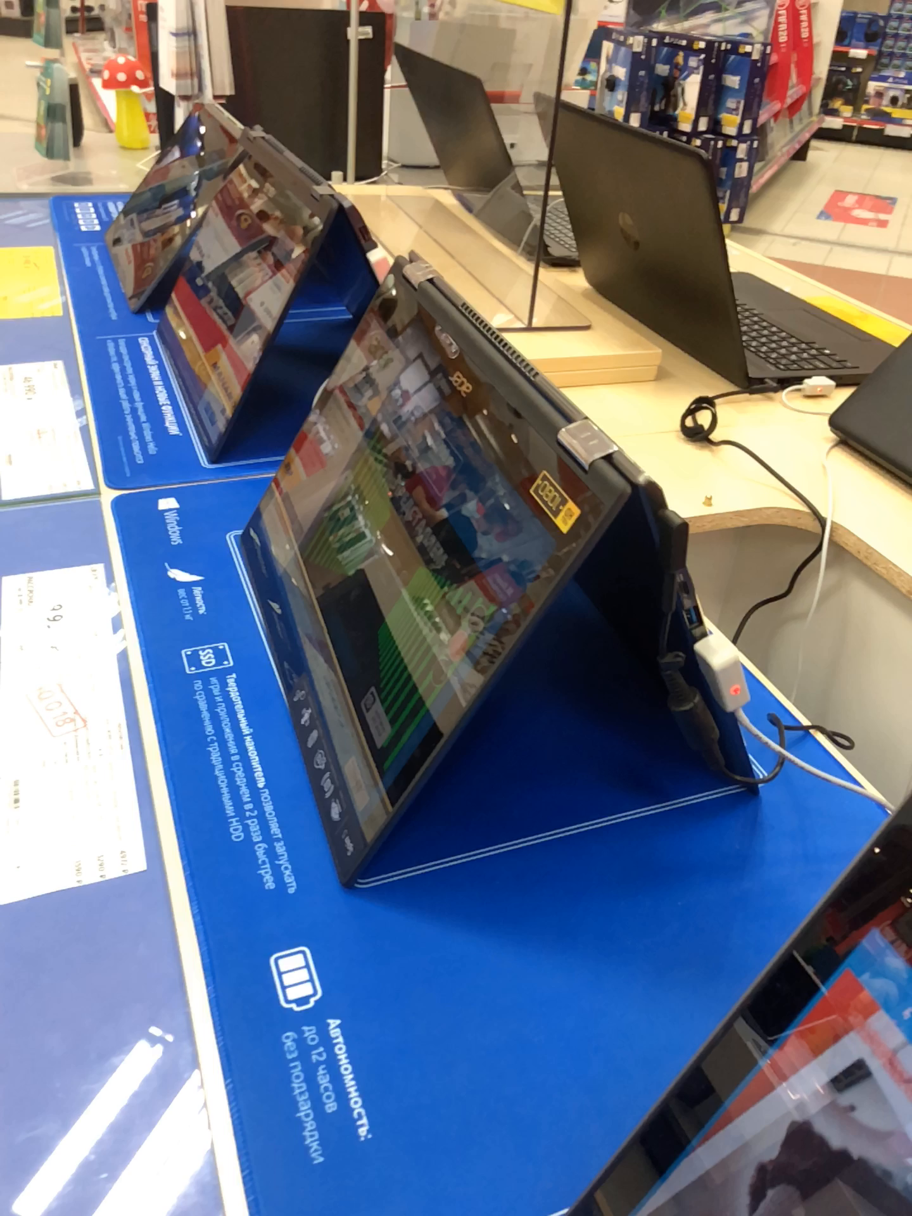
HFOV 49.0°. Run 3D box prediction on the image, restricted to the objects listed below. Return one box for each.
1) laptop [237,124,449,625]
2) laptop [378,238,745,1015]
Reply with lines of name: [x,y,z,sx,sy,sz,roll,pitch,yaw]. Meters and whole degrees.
laptop: [-0.112,-0.219,0.953,0.175,0.179,0.270,20,23,-34]
laptop: [0.051,0.018,0.633,0.201,0.159,0.308,26,20,-40]
